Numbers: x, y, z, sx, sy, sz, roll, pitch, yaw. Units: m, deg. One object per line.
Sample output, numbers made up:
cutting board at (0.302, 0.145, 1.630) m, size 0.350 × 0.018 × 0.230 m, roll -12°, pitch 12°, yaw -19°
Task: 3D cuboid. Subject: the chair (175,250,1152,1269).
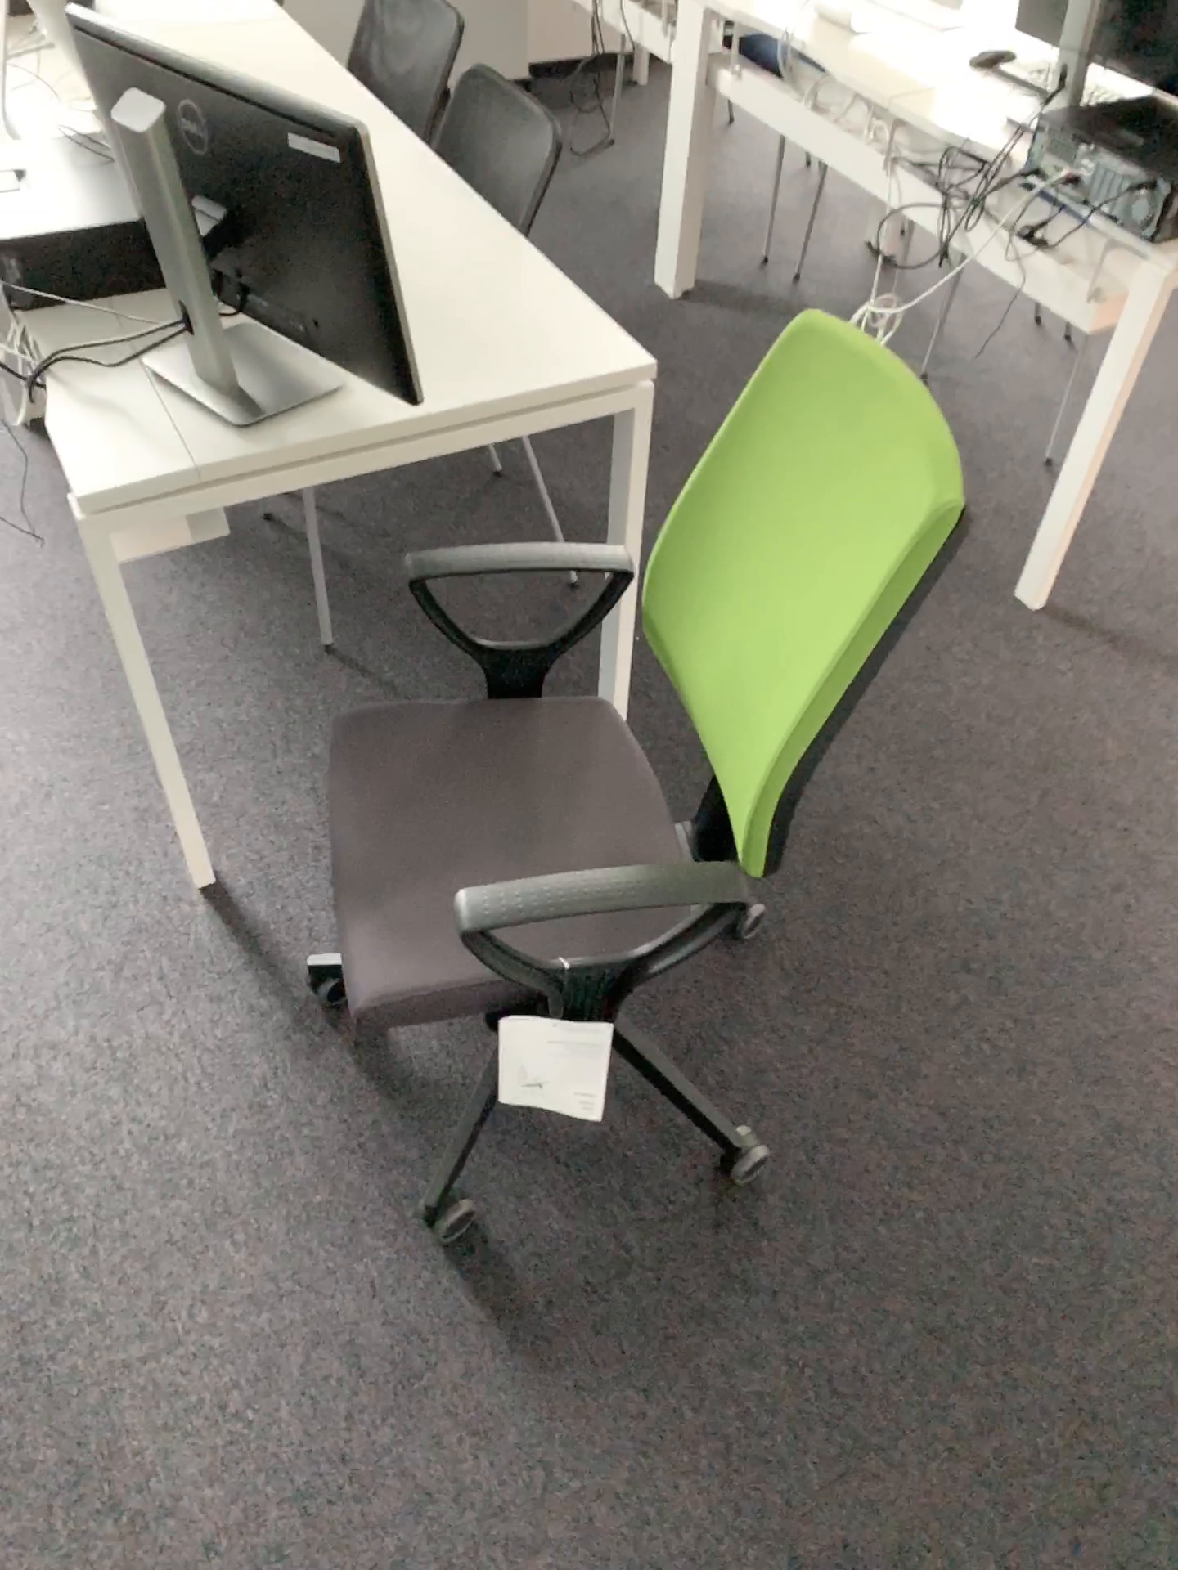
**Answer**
chair at (-0.011, 0.013, 1.480) m, size 0.760 × 1.045 × 0.623 m, roll -8°, pitch 49°, yaw -11°
